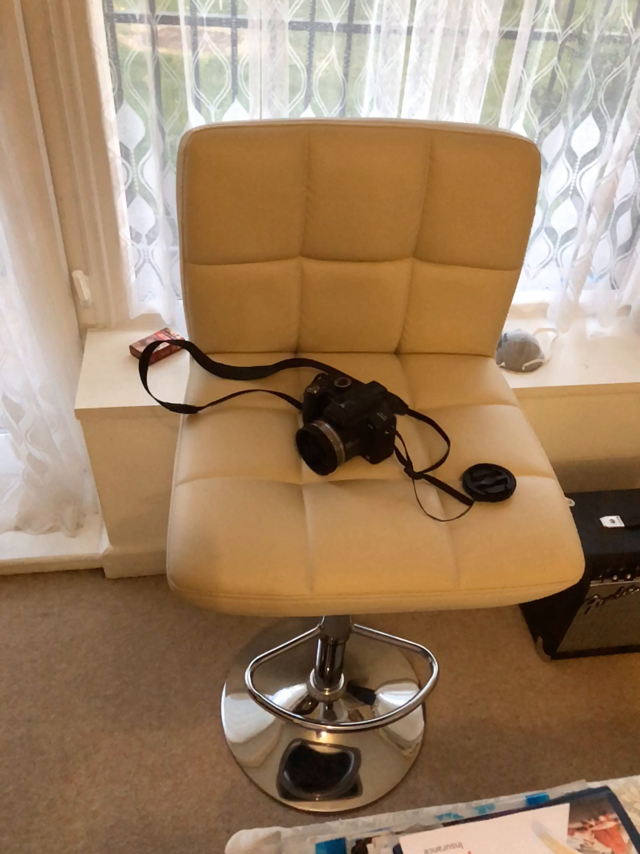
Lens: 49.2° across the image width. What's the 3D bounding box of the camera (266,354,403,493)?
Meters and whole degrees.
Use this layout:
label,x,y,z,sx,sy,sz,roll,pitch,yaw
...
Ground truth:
label,x,y,z,sx,sy,sz,roll,pitch,yaw
camera,0.014,-0.007,0.775,0.112,0.076,0.098,34,49,29
